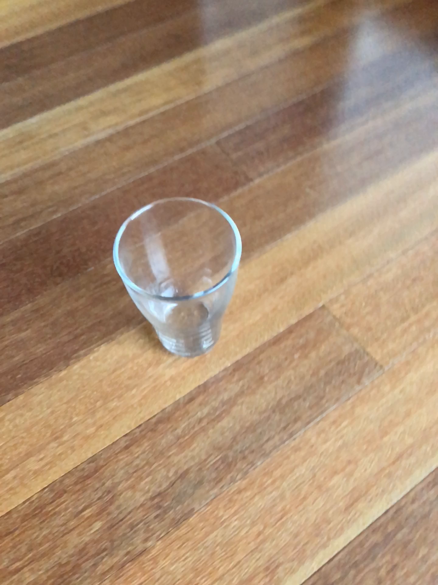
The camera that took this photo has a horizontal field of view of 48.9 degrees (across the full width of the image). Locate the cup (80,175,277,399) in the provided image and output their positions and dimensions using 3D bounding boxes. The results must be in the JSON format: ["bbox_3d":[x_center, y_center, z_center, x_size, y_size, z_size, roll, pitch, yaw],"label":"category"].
[{"bbox_3d":[-0.026,-0.001,0.358,0.090,0.109,0.090,0,59,0],"label":"cup"}]
